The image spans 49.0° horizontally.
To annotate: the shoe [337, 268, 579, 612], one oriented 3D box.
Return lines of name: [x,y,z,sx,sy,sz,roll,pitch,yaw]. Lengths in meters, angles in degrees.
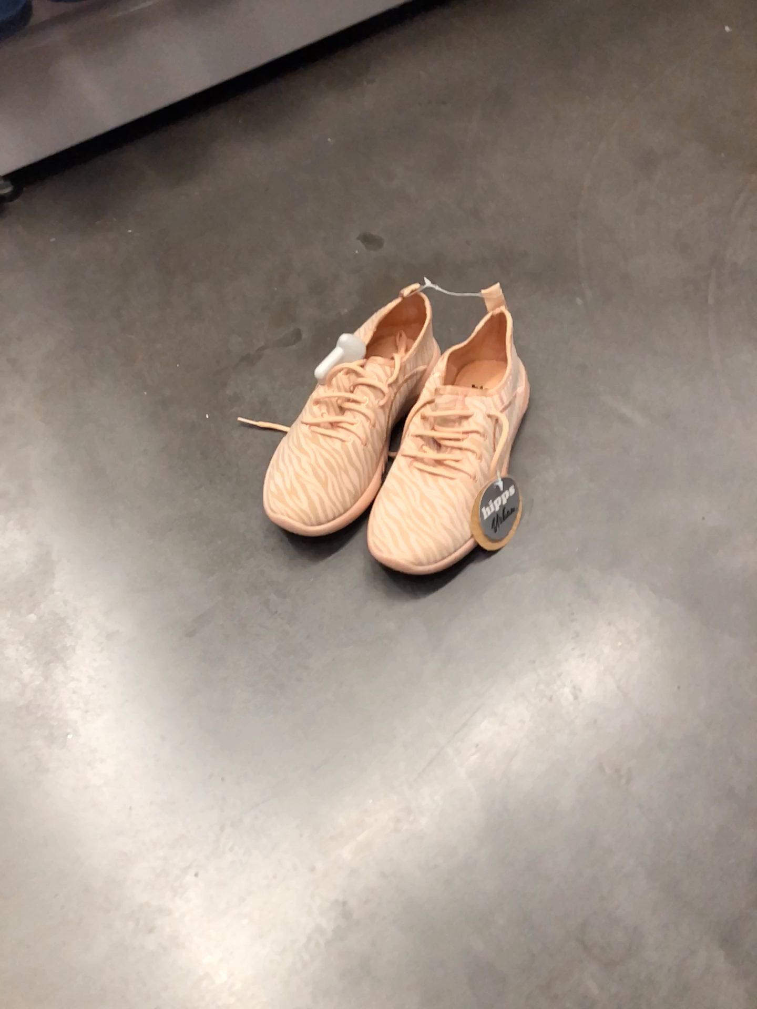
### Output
shoe: [0.064,-0.054,0.635,0.100,0.100,0.231,19,61,12]

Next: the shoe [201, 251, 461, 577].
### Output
shoe: [-0.028,-0.077,0.666,0.100,0.100,0.231,22,62,14]
